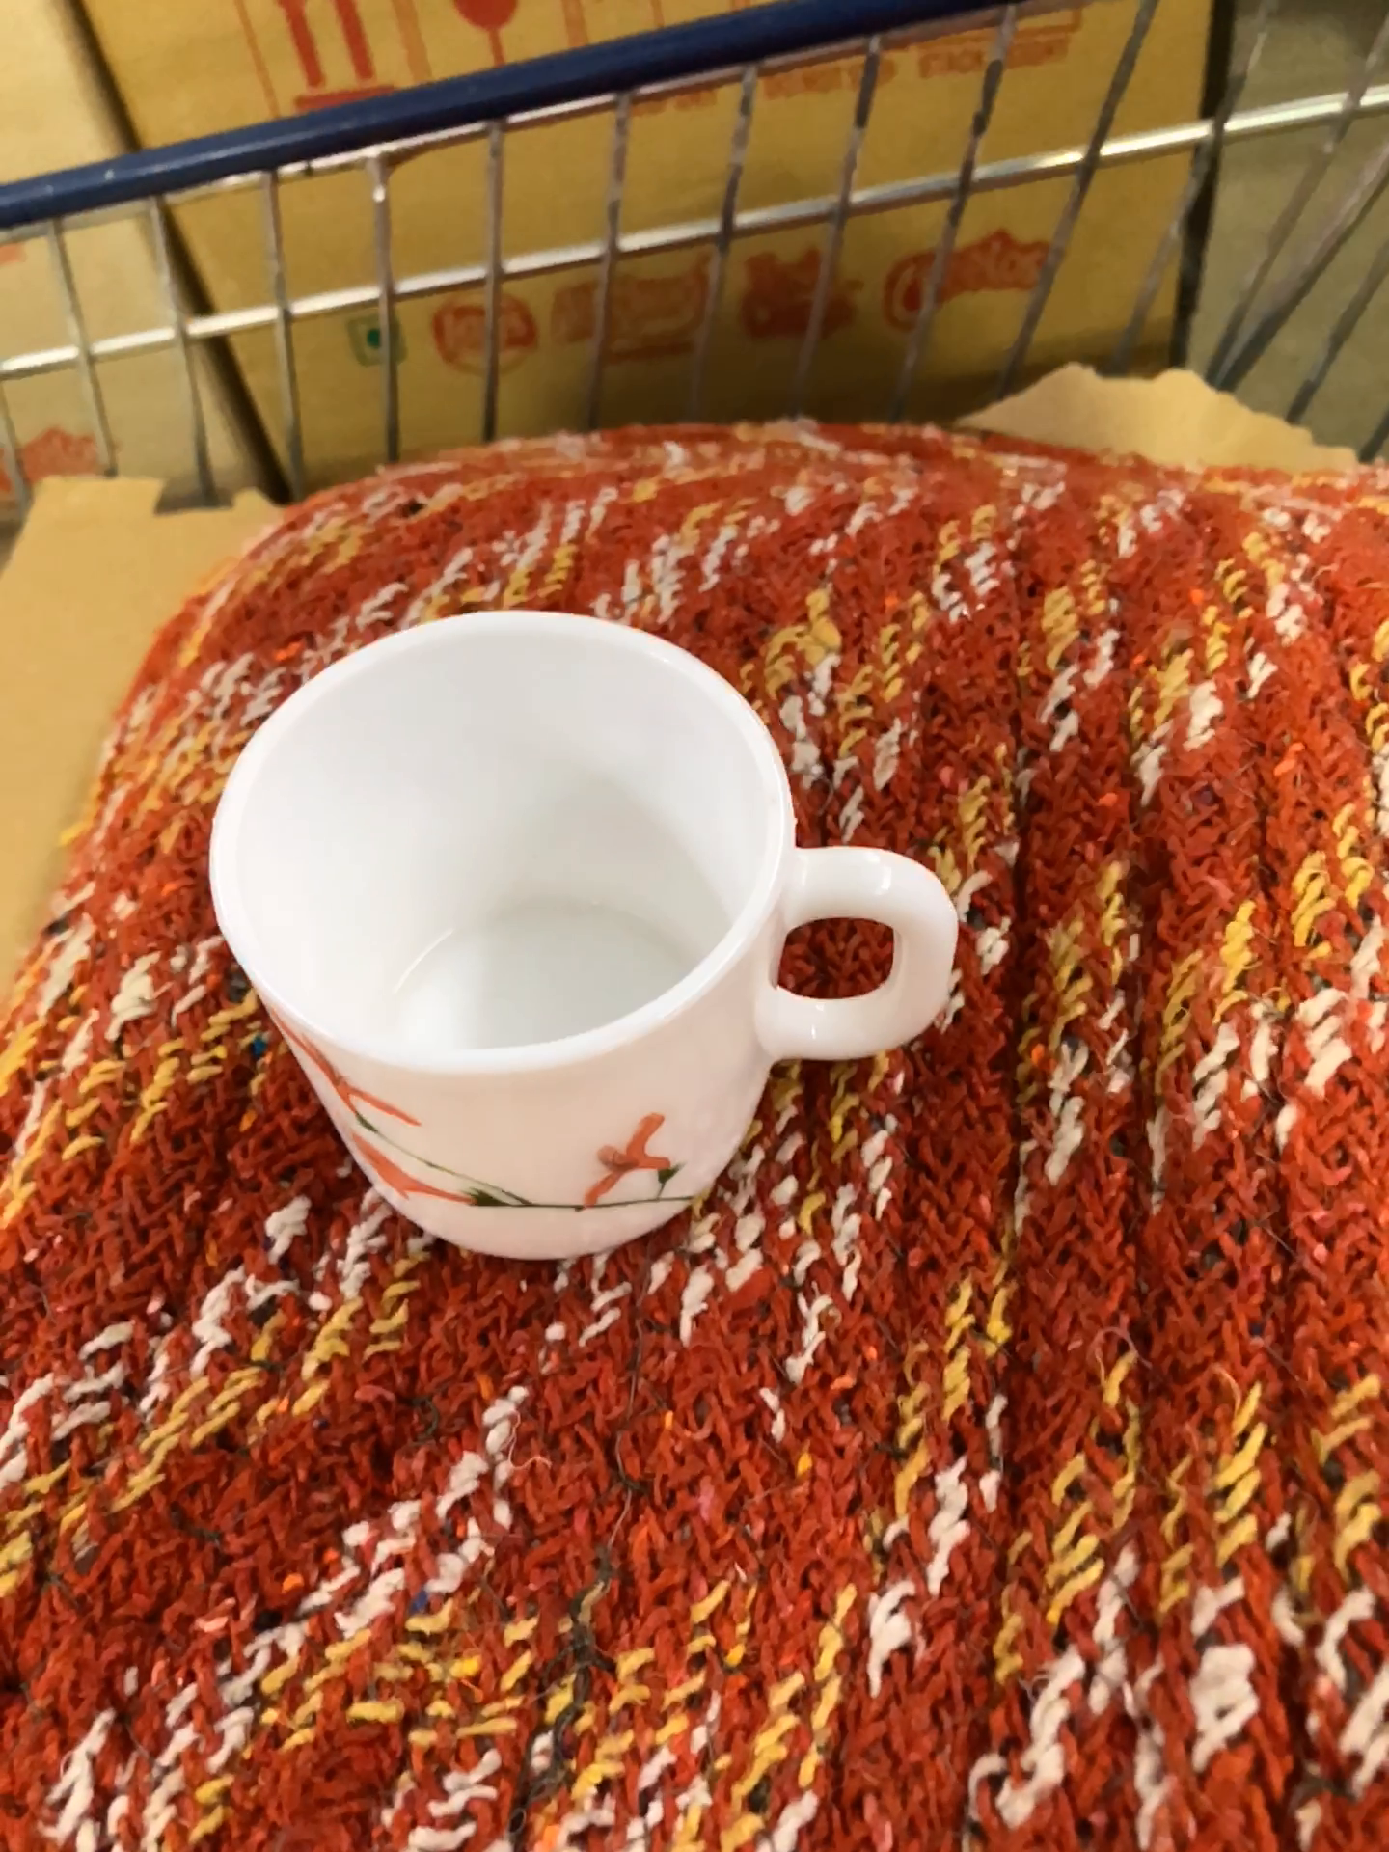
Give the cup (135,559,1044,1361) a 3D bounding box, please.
[{"bbox_3d":[-0.007,0.004,0.182,0.080,0.060,0.070,0,52,4],"label":"cup"}]
